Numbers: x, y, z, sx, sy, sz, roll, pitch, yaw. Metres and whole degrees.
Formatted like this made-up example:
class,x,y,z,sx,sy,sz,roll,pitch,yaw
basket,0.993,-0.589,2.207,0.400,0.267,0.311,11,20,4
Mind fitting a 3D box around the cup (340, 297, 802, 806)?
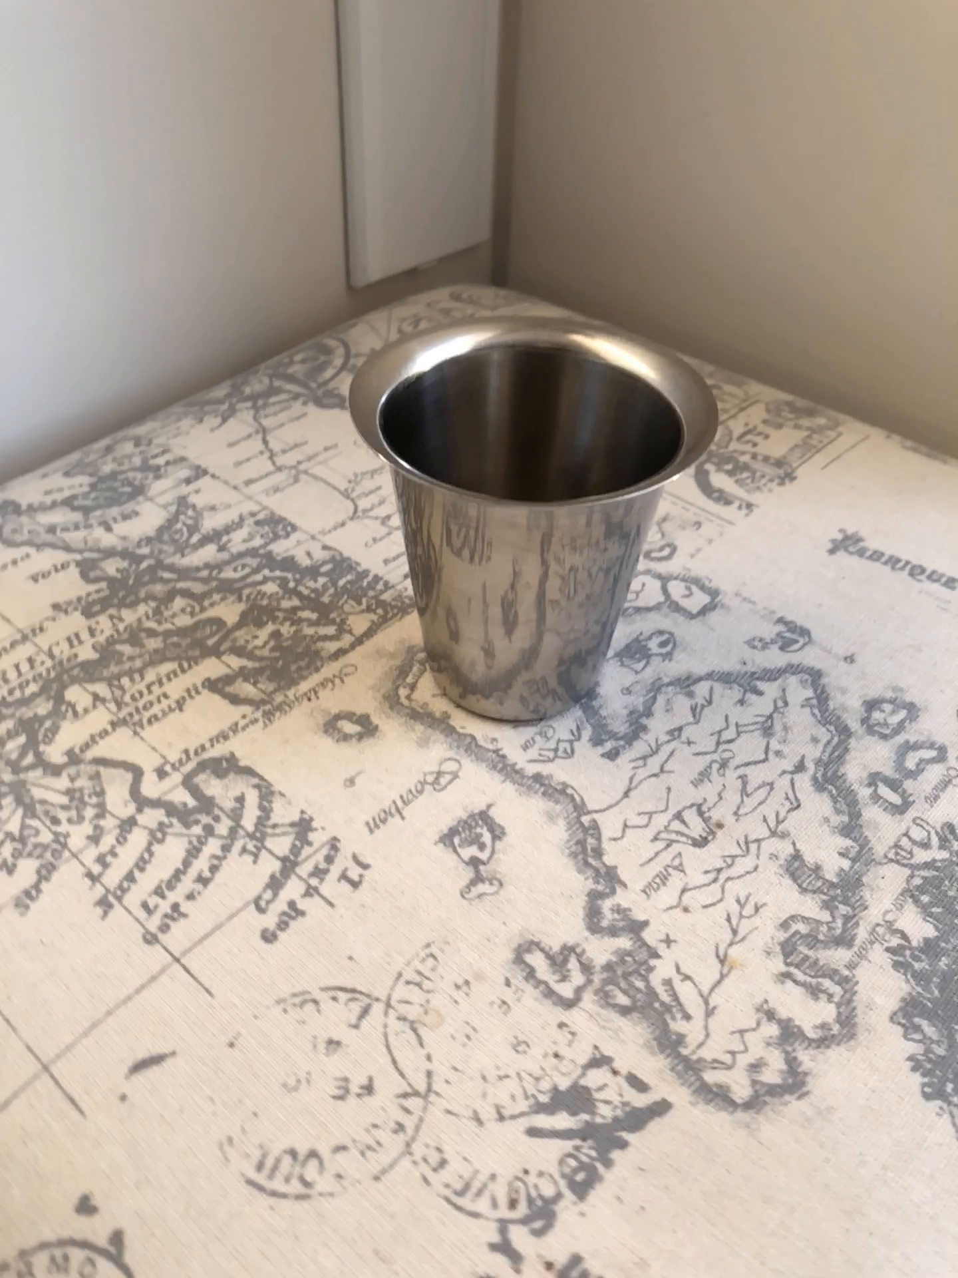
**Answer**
class,x,y,z,sx,sy,sz,roll,pitch,yaw
cup,0.013,-0.024,0.255,0.081,0.081,0.085,2,41,-1
